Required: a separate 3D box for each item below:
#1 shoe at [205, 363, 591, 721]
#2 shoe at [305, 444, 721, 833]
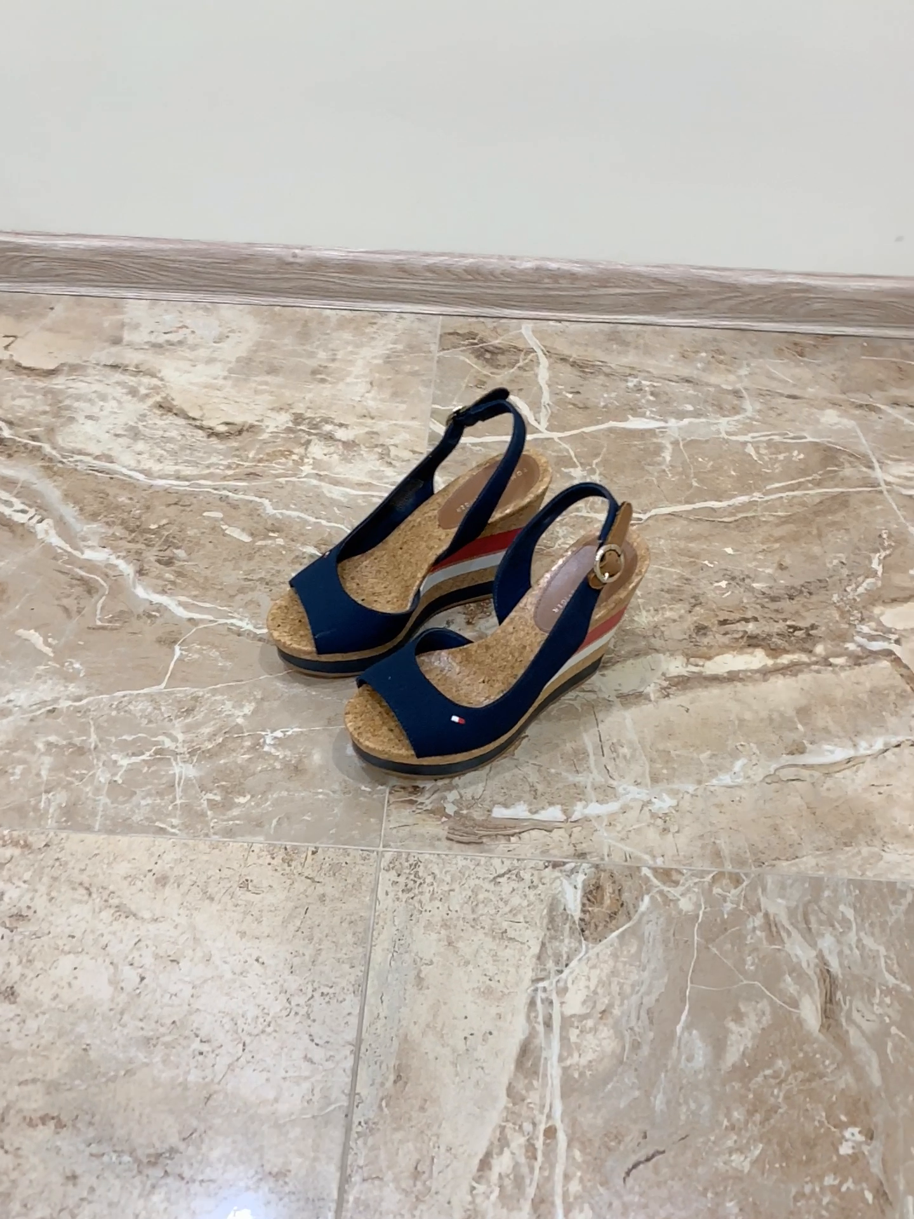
[{"bbox_3d":[-0.035,-0.045,0.606,0.210,0.145,0.090,-24,55,-21],"label":"shoe"},{"bbox_3d":[0.031,0.016,0.560,0.210,0.145,0.090,-24,55,-21],"label":"shoe"}]
